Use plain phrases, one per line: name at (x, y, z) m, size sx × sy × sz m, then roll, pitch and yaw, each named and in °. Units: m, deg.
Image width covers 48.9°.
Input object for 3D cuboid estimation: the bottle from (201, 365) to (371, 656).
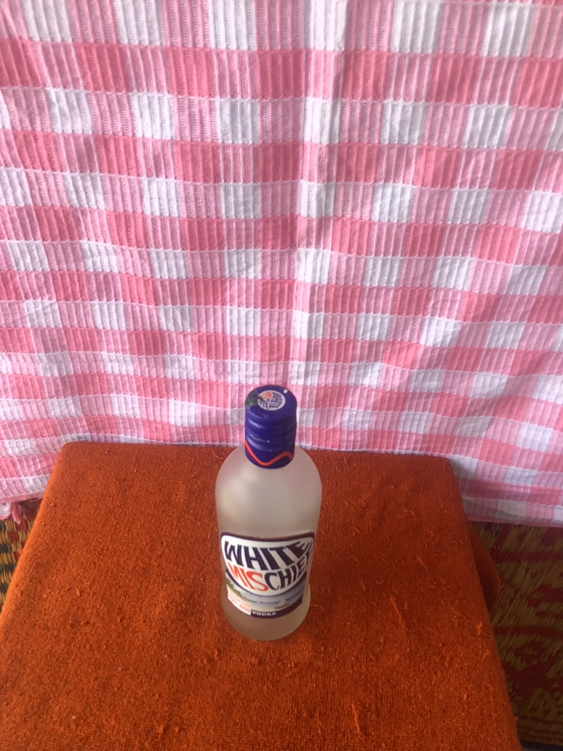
bottle at (-0.002, 0.094, 0.385) m, size 0.080 × 0.199 × 0.070 m, roll 4°, pitch 43°, yaw -1°
